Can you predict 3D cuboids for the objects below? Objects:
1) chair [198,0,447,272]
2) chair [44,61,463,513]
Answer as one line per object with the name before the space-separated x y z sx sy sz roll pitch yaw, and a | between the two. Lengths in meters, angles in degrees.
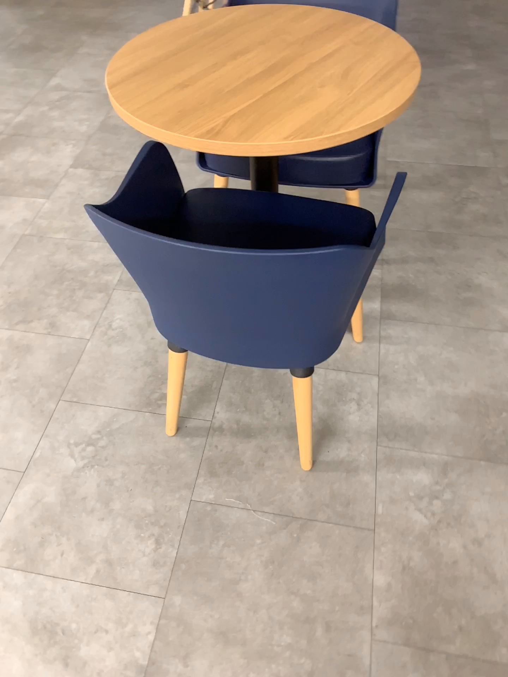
chair | 0.214 -0.702 1.620 0.562 0.736 0.561 8 51 9
chair | 0.052 -0.092 1.156 0.562 0.736 0.551 14 52 14
